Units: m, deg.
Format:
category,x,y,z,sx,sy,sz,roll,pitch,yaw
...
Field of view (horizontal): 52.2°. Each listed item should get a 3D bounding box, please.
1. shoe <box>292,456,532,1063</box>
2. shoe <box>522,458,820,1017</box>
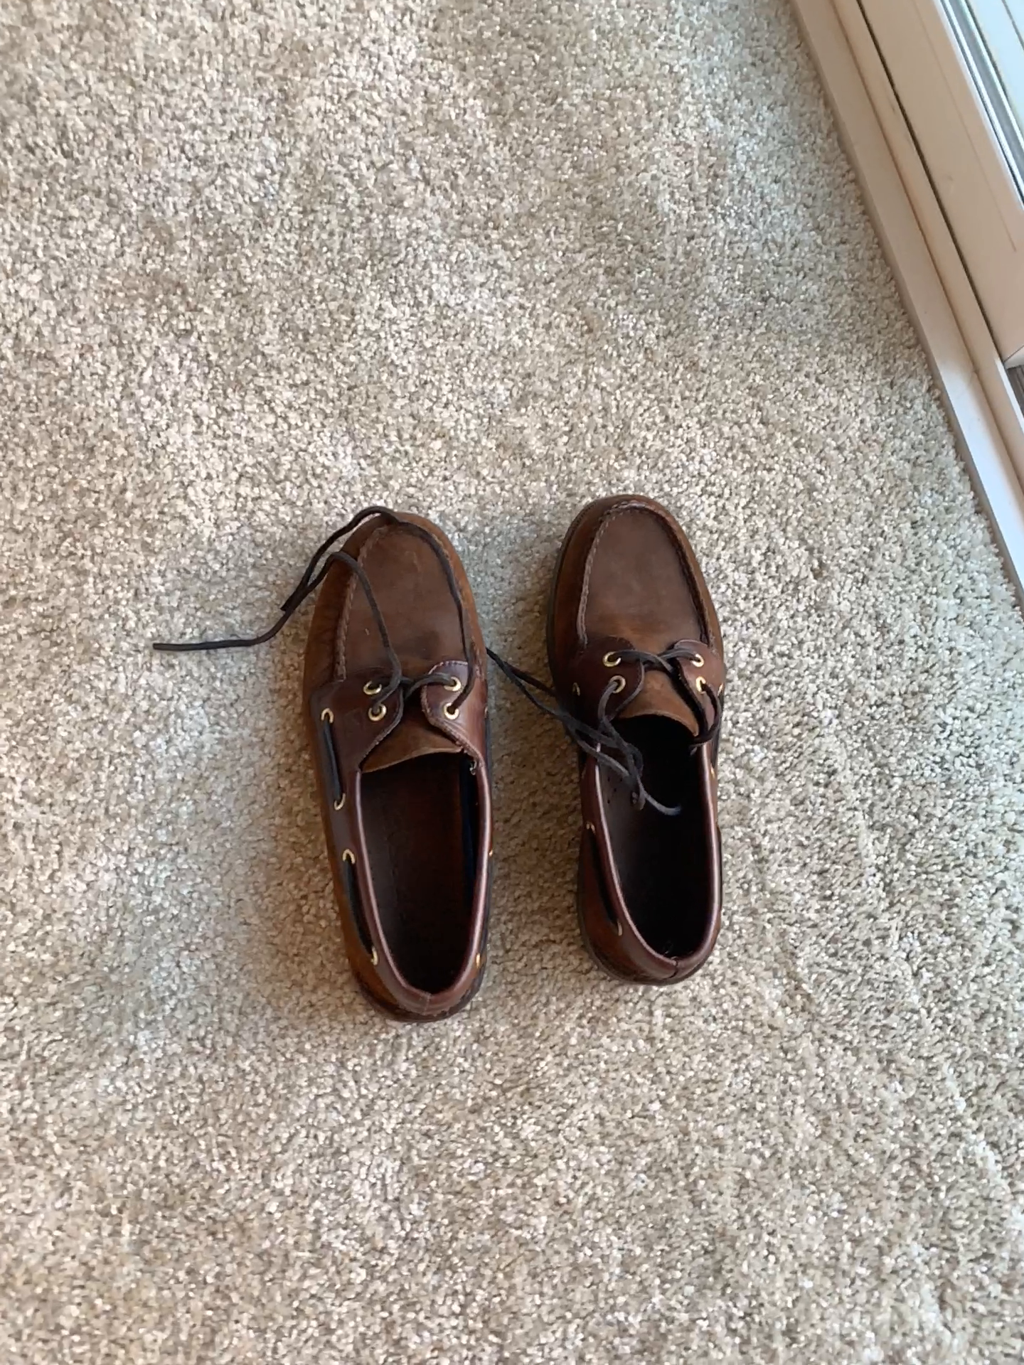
category,x,y,z,sx,sy,sz,roll,pitch,yaw
shoe,-0.064,0.040,0.609,0.100,0.100,0.320,-4,79,-10
shoe,0.085,0.030,0.619,0.110,0.100,0.300,-4,79,-10
